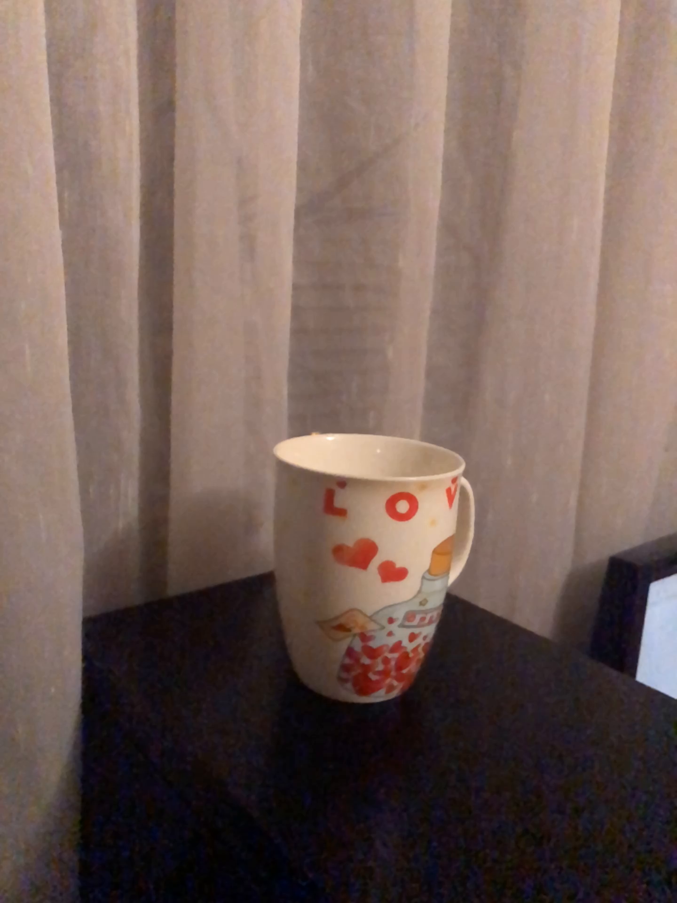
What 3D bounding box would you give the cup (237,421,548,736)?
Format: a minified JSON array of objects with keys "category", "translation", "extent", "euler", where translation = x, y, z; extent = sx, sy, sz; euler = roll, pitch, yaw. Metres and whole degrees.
[{"category":"cup","translation":[0.024,0.046,0.341],"extent":[0.111,0.098,0.078],"euler":[-8,17,-40]}]
